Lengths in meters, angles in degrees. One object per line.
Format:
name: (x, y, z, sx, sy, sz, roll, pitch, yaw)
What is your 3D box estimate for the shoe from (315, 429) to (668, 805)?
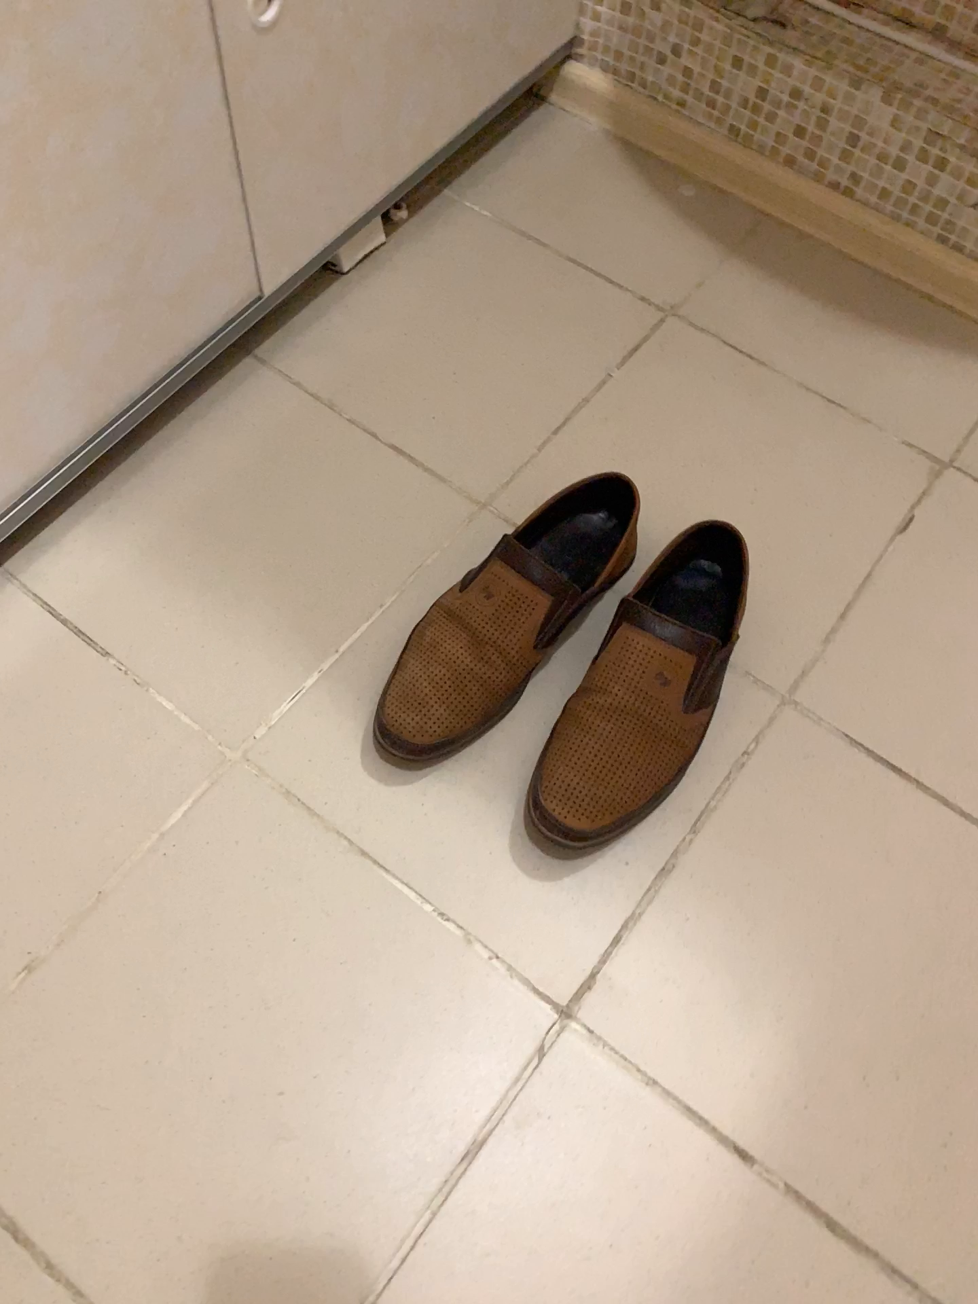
shoe: (0.007, -0.032, 0.747, 0.110, 0.080, 0.270, 35, 65, 15)

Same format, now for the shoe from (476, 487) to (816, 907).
shoe: (0.118, 0.026, 0.739, 0.110, 0.090, 0.290, 31, 64, 13)
